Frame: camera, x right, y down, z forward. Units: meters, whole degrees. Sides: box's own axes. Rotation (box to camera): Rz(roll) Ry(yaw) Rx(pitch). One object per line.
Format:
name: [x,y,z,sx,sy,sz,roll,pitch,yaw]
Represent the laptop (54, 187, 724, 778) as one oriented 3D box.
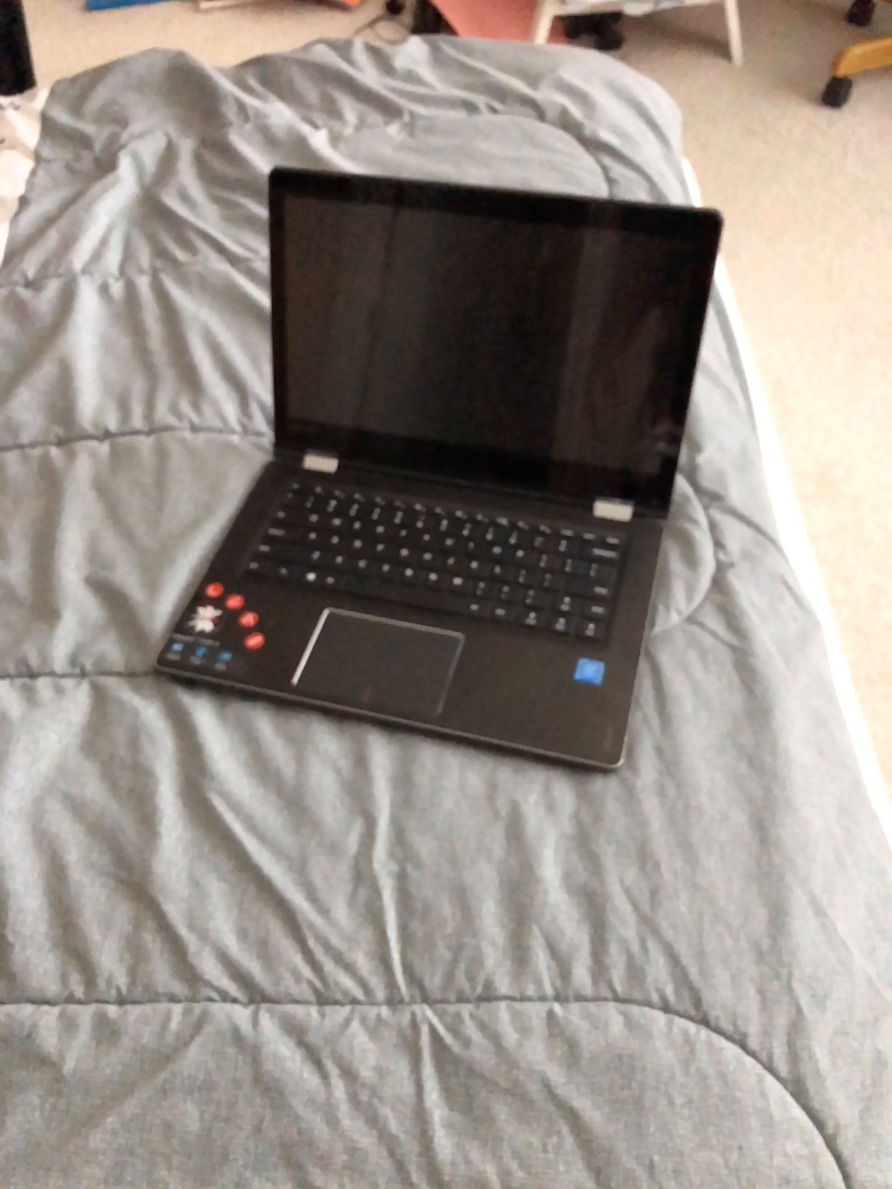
laptop: [-0.008,-0.100,0.755,0.361,0.214,0.352,11,54,11]
